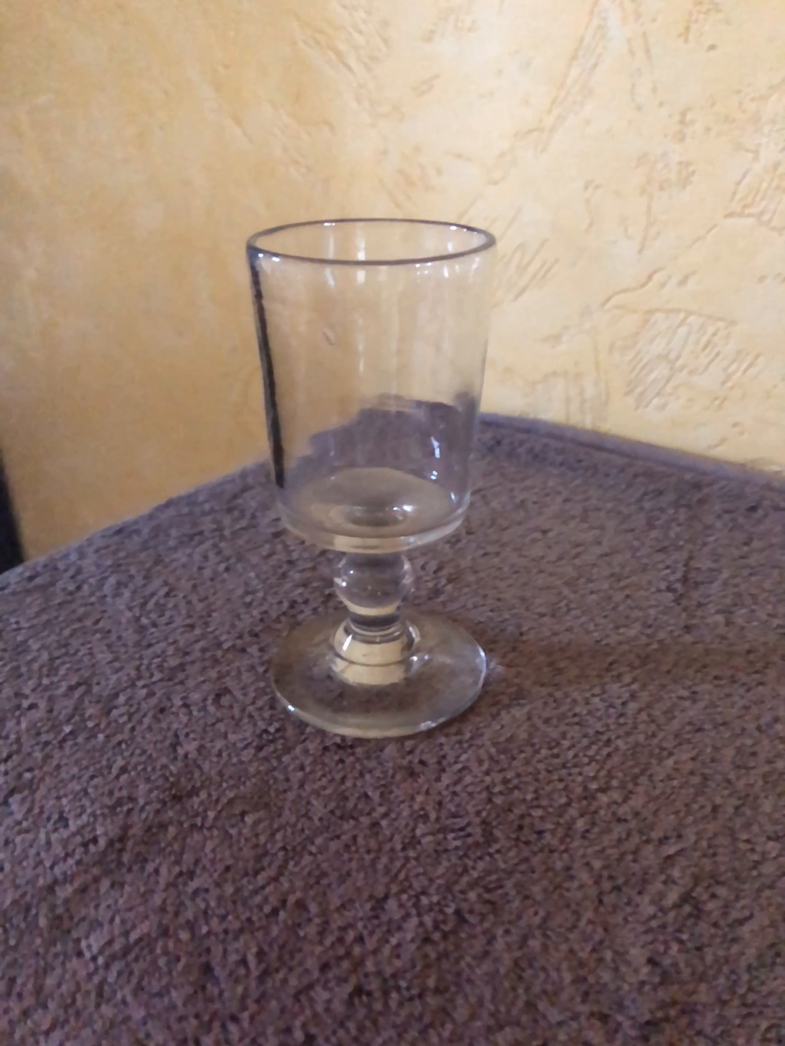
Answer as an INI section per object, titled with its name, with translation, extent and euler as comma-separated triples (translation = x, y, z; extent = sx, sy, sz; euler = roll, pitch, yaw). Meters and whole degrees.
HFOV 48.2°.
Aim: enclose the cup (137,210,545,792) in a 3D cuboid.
[cup]
translation = -0.011, -0.009, 0.205
extent = 0.060, 0.109, 0.060
euler = 0, 27, 0
